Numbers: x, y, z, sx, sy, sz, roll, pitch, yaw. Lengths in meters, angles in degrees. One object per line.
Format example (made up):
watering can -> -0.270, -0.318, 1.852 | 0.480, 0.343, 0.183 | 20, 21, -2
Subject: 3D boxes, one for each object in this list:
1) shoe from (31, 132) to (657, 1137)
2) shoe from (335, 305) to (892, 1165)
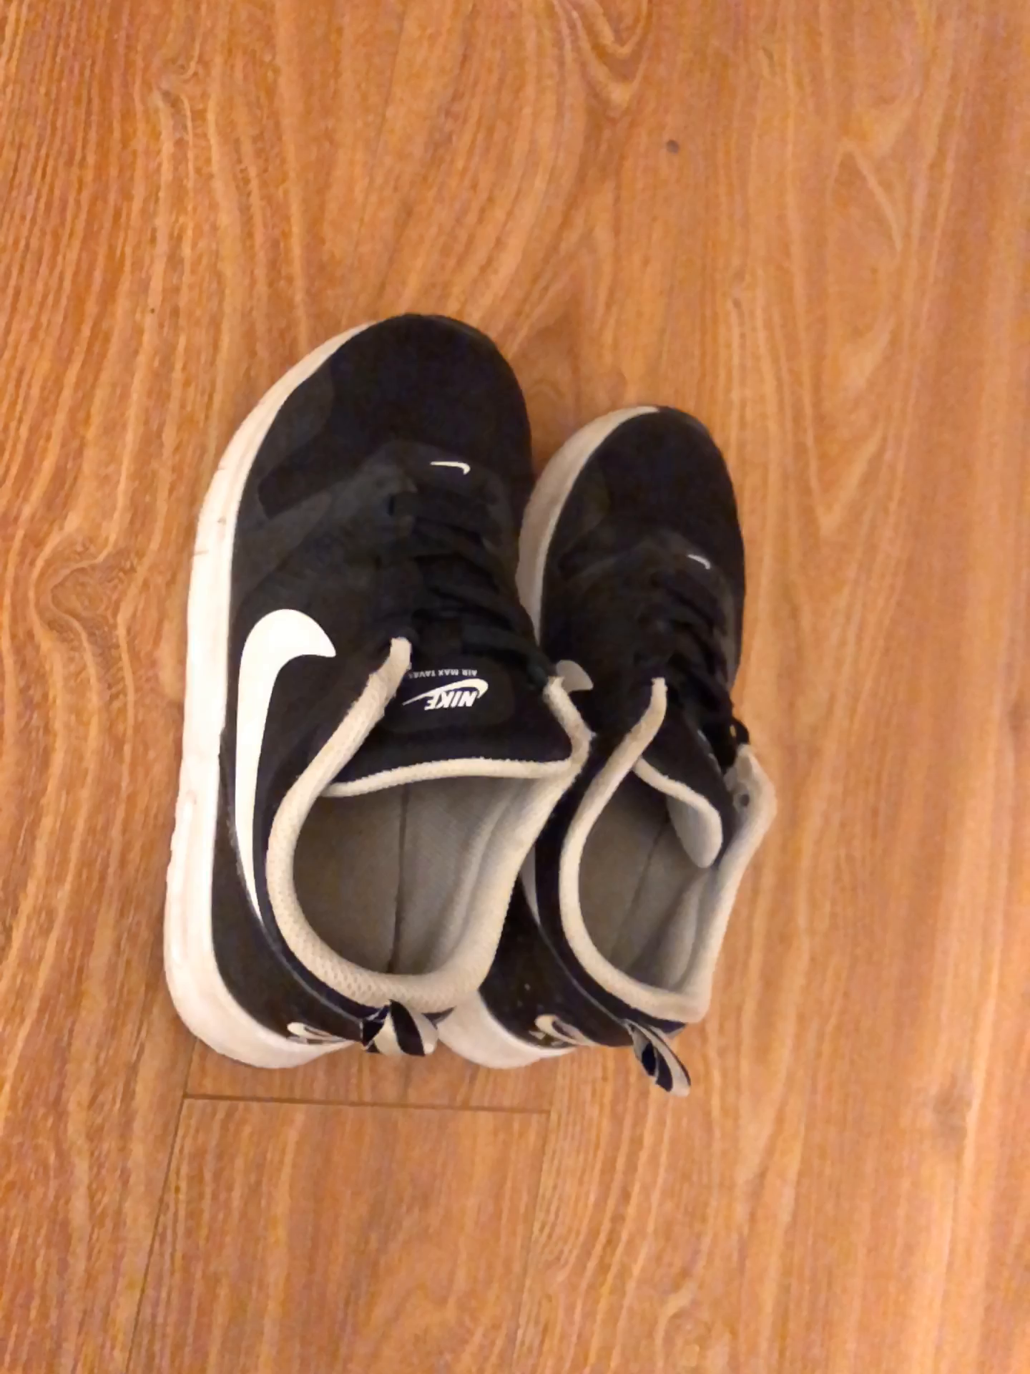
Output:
shoe -> -0.043, -0.011, 0.312 | 0.090, 0.080, 0.230 | 20, 76, -32
shoe -> 0.036, 0.014, 0.361 | 0.090, 0.080, 0.230 | 26, 73, -31
